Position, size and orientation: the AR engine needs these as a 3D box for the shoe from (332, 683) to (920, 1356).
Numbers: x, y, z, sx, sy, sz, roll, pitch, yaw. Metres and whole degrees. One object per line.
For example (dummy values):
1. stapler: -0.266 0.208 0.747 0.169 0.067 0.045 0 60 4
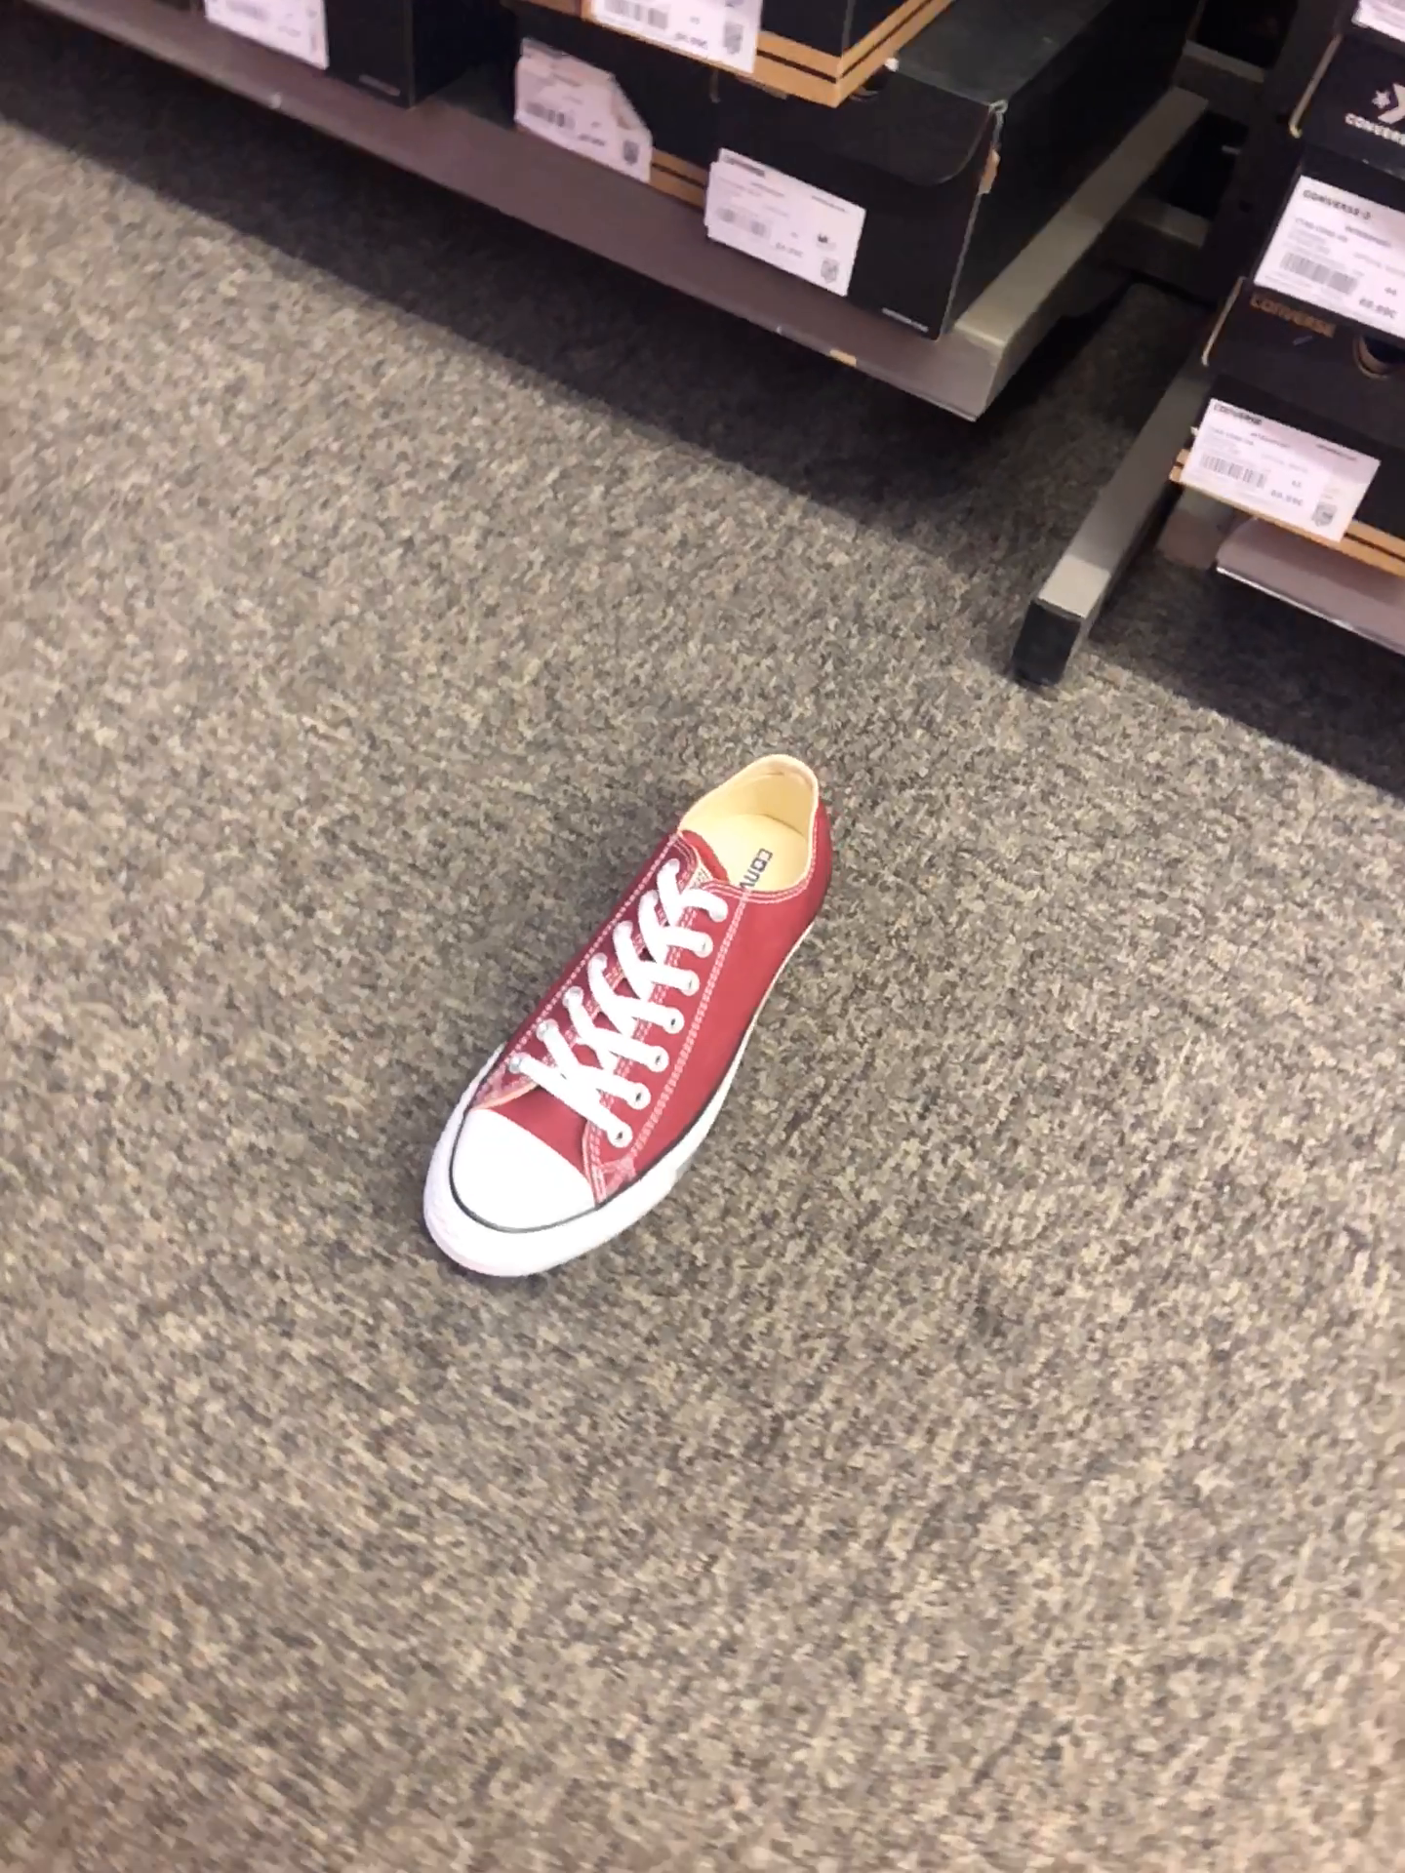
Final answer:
1. shoe: -0.024 0.027 0.672 0.100 0.090 0.281 31 60 14
